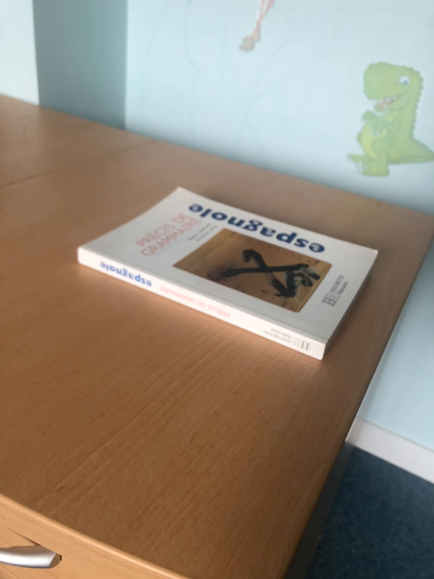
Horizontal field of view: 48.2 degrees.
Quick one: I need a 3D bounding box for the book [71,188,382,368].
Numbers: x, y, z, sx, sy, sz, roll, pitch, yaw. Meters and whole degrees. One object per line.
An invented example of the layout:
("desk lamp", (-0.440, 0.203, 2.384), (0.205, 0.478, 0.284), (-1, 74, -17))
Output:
("book", (0.017, -0.030, 0.466), (0.240, 0.020, 0.181), (21, 36, 20))
